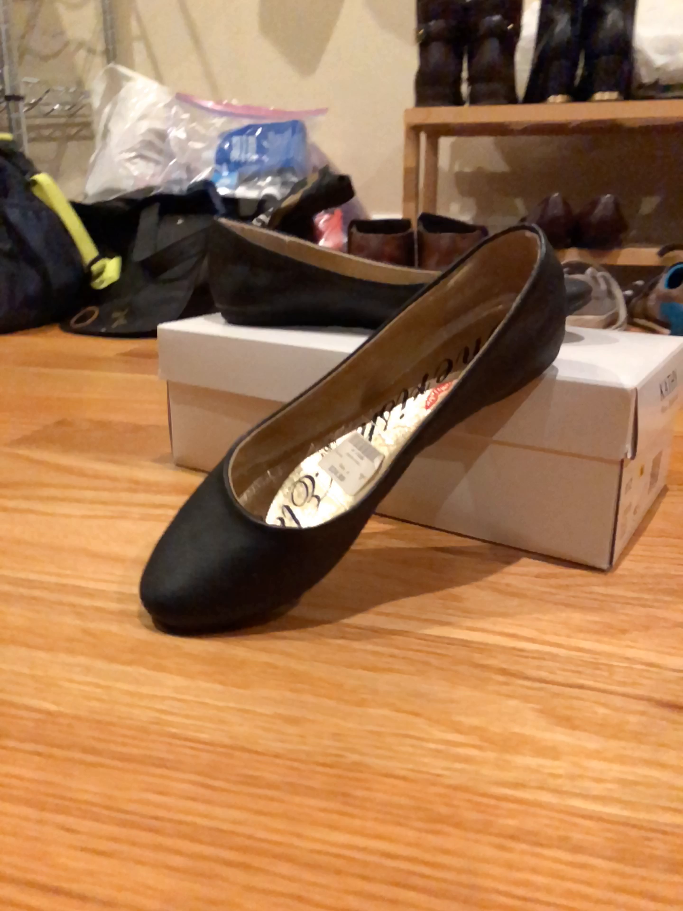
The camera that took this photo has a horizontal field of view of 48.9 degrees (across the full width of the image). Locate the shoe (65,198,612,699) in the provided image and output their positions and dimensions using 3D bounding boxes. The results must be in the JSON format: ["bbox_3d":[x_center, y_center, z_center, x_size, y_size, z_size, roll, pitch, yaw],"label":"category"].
[{"bbox_3d":[0.000,-0.008,0.338,0.239,0.060,0.076,-40,44,-5],"label":"shoe"}]

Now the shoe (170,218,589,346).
[{"bbox_3d":[0.019,-0.112,0.458,0.239,0.060,0.076,8,20,22],"label":"shoe"}]
